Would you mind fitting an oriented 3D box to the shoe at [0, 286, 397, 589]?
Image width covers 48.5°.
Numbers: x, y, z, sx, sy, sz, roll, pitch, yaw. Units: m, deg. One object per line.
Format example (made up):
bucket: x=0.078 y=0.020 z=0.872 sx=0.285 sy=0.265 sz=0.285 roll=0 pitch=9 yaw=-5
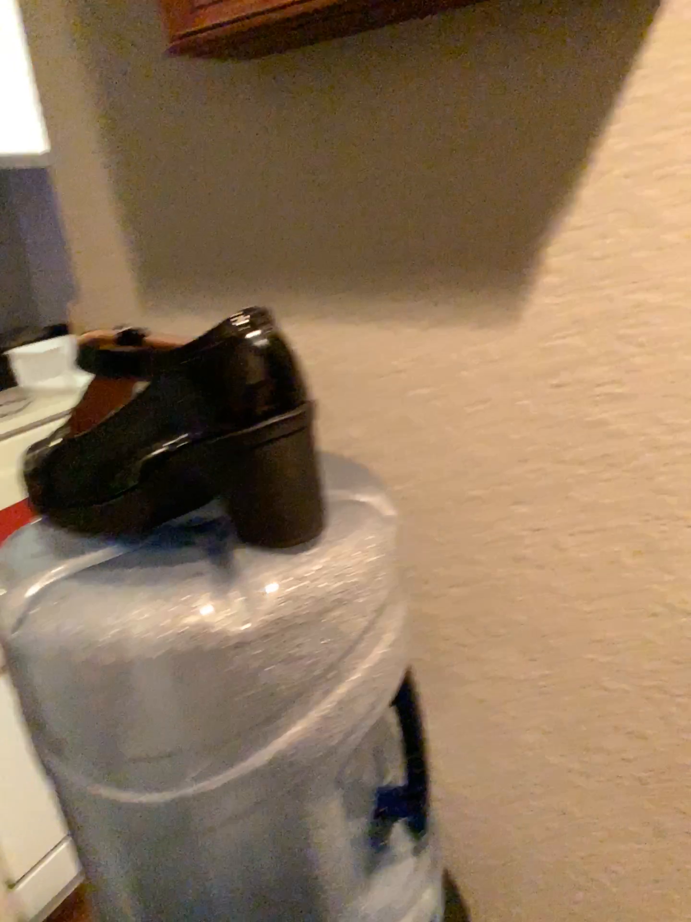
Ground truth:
shoe: x=-0.115 y=-0.030 z=0.464 sx=0.250 sy=0.120 sz=0.130 roll=7 pitch=24 yaw=36
